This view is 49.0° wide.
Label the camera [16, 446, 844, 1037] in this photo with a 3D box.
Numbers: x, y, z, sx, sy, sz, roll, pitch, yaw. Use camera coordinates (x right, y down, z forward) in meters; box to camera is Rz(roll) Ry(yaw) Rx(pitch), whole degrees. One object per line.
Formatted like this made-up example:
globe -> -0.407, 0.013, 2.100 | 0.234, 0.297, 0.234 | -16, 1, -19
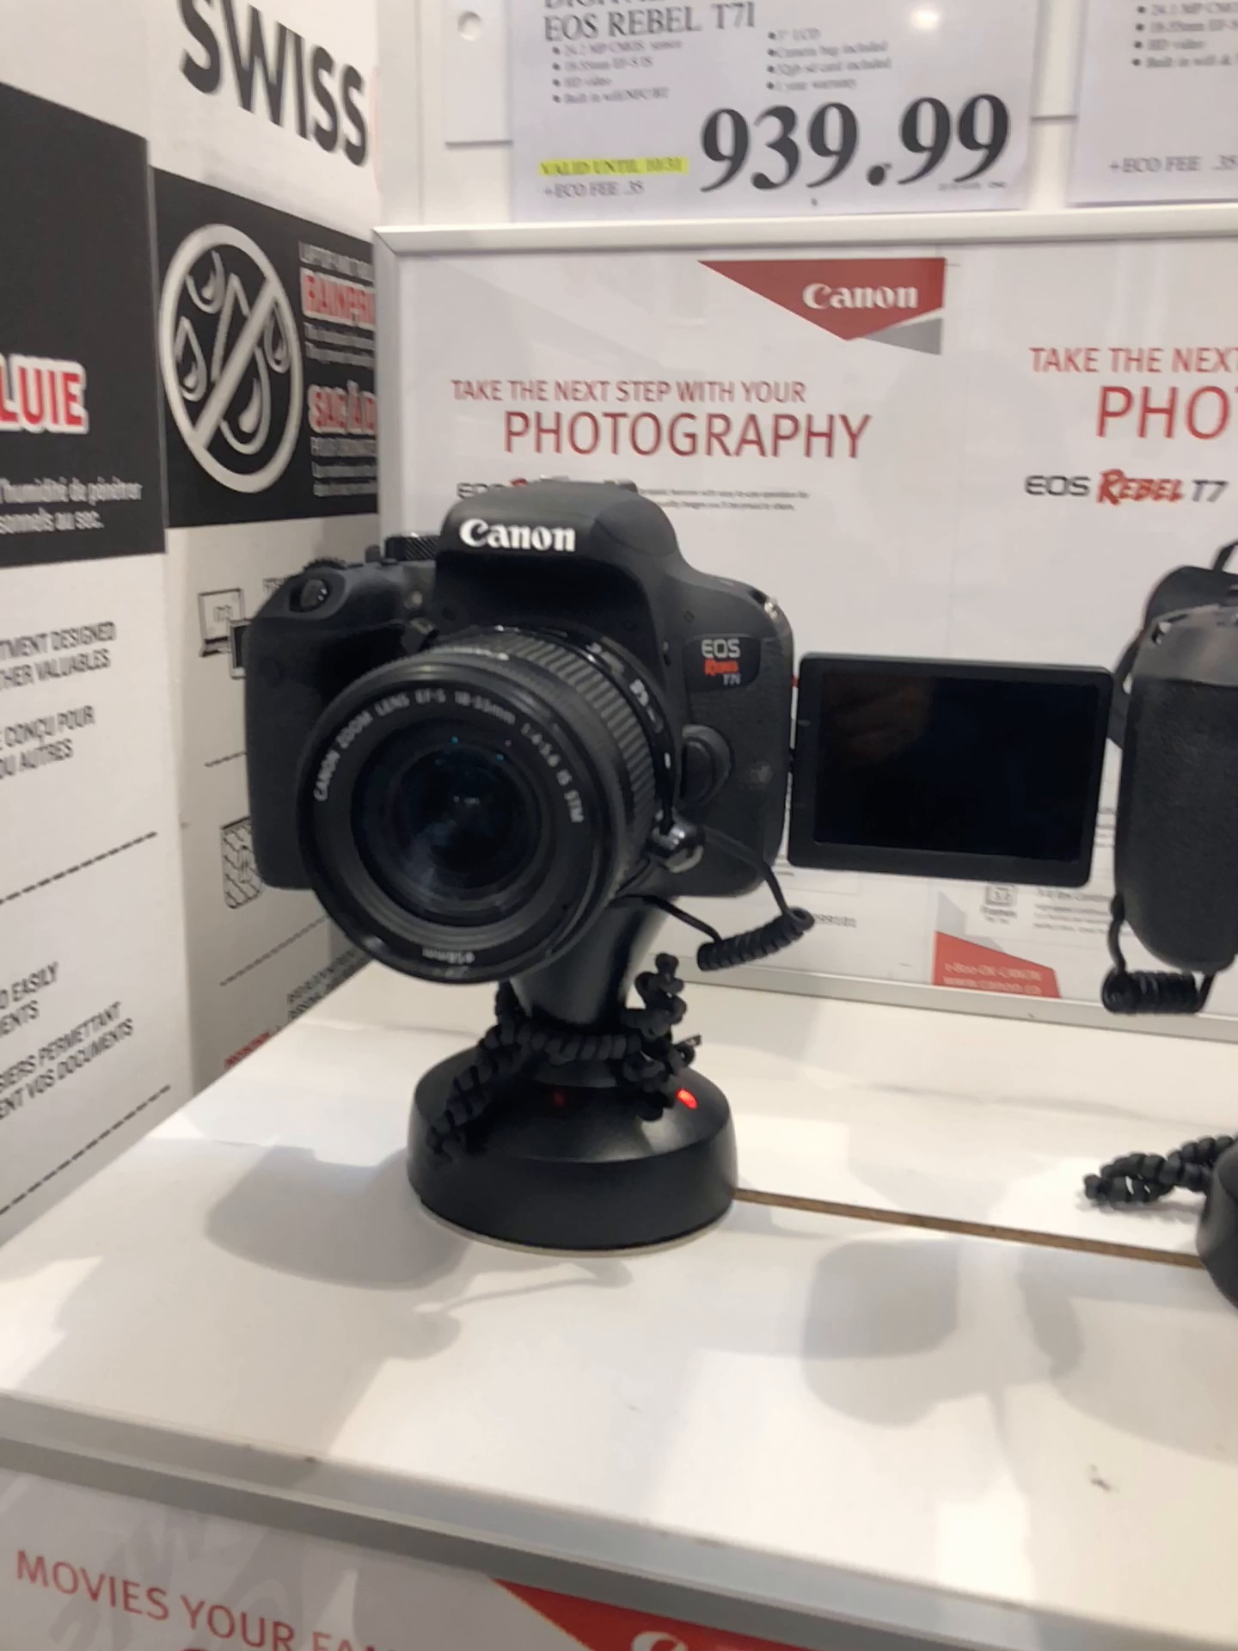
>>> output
camera -> -0.027, -0.034, 0.317 | 0.140, 0.100, 0.151 | 4, 15, 13
